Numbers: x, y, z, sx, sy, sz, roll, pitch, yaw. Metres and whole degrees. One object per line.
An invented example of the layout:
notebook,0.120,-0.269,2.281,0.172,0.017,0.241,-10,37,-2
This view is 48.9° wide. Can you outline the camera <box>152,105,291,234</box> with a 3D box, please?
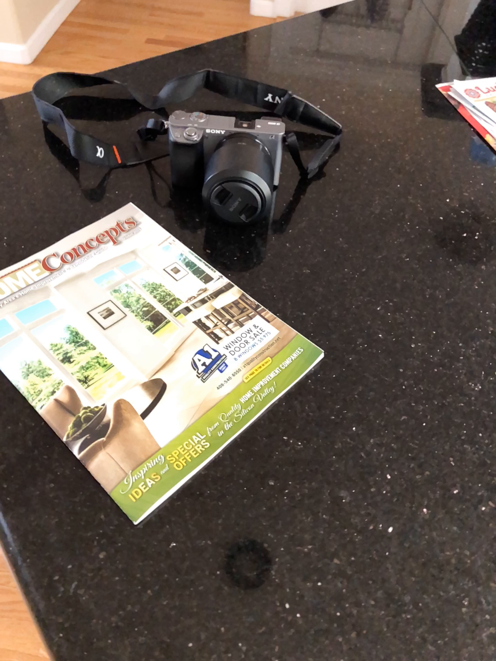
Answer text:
camera,-0.022,-0.160,0.535,0.120,0.060,0.110,4,52,0
